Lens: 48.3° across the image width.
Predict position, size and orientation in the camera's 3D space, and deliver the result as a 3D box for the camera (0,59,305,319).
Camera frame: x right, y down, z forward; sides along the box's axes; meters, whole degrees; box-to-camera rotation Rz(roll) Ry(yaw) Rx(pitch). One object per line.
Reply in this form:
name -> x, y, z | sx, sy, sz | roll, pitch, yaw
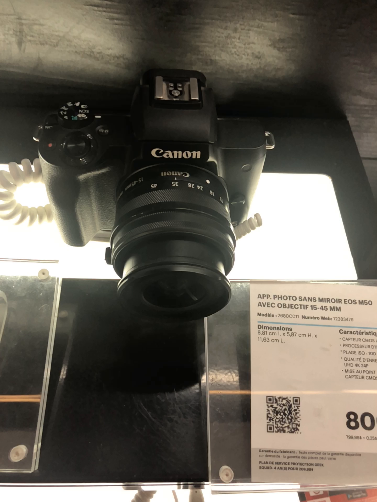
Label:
camera -> -0.018, -0.030, 0.224 | 0.119, 0.089, 0.101 | 1, 54, -3
